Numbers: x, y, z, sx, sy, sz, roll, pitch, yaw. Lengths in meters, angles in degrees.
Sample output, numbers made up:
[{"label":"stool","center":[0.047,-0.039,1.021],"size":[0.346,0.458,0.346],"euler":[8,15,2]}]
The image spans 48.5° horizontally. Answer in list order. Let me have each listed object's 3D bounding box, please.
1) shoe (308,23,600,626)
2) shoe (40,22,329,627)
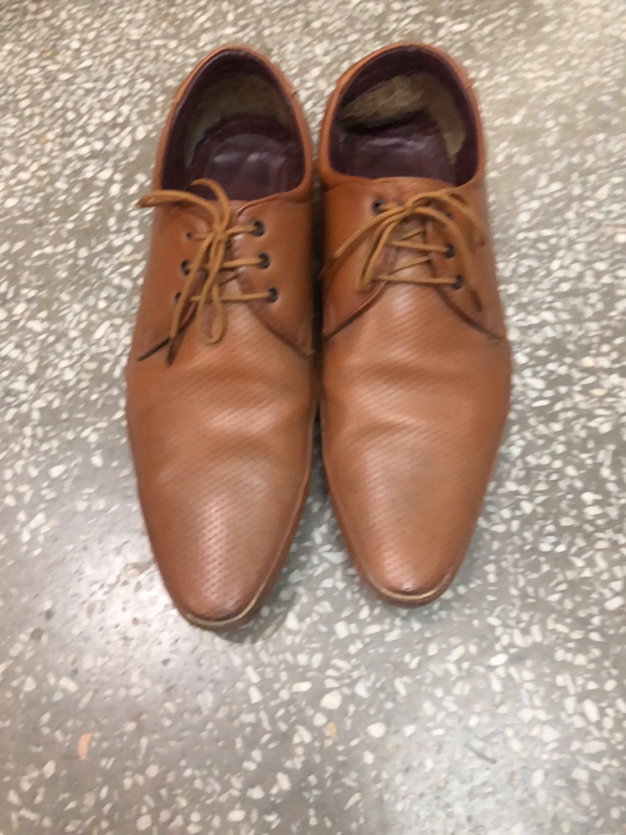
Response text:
[{"label":"shoe","center":[0.052,-0.045,0.358],"size":[0.105,0.118,0.285],"euler":[-1,70,0]},{"label":"shoe","center":[-0.048,-0.044,0.357],"size":[0.105,0.118,0.285],"euler":[-1,70,0]}]
